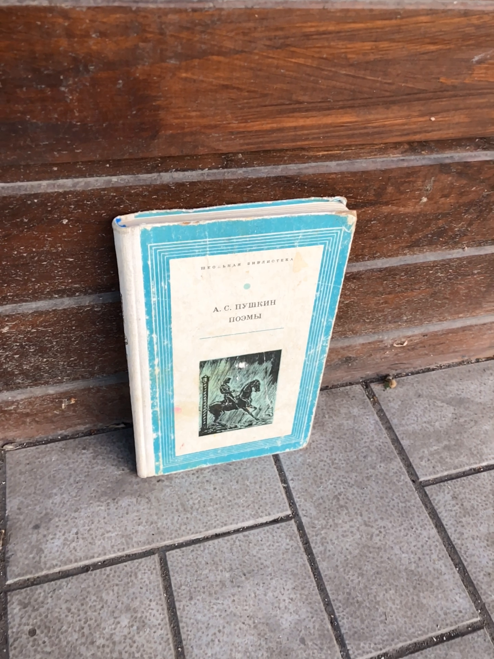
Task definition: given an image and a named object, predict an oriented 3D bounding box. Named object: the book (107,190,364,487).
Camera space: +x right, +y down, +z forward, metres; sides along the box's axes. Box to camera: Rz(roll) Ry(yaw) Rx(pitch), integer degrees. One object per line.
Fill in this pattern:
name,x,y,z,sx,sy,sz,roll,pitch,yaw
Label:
book,-0.010,0.013,0.339,0.130,0.189,0.030,-8,38,-15
